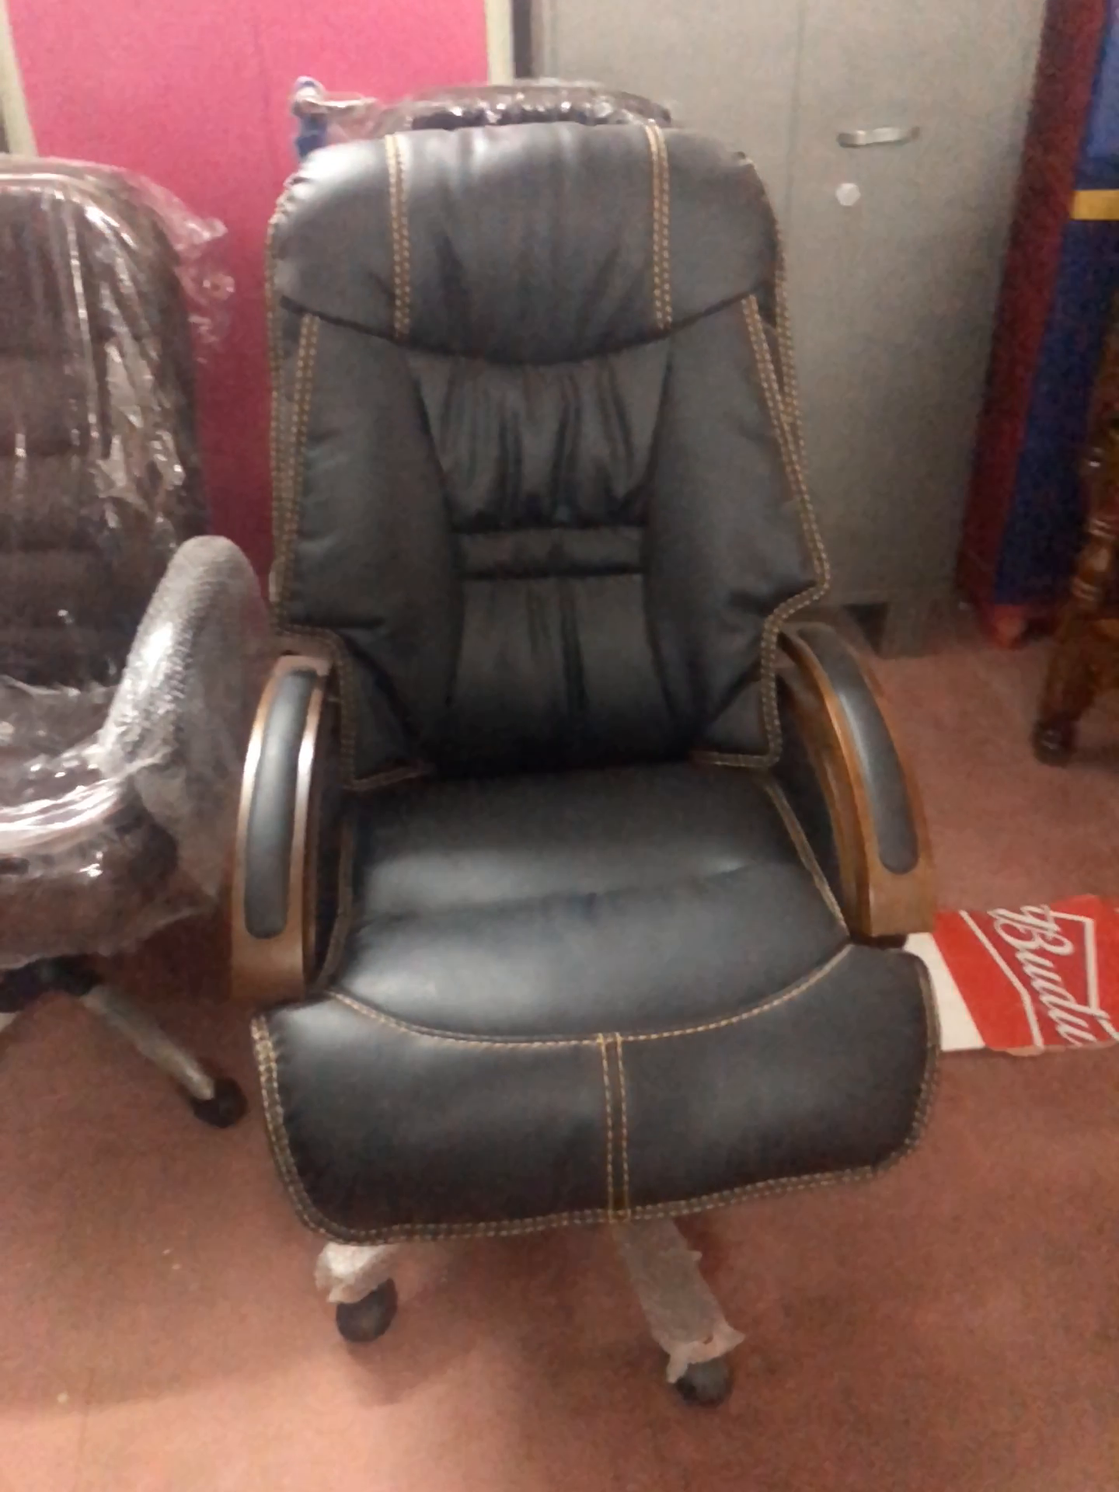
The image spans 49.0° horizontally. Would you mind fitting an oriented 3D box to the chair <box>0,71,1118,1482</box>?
[{"bbox_3d":[-0.020,-0.020,1.148,0.700,0.995,0.794,-4,33,-4],"label":"chair"}]
